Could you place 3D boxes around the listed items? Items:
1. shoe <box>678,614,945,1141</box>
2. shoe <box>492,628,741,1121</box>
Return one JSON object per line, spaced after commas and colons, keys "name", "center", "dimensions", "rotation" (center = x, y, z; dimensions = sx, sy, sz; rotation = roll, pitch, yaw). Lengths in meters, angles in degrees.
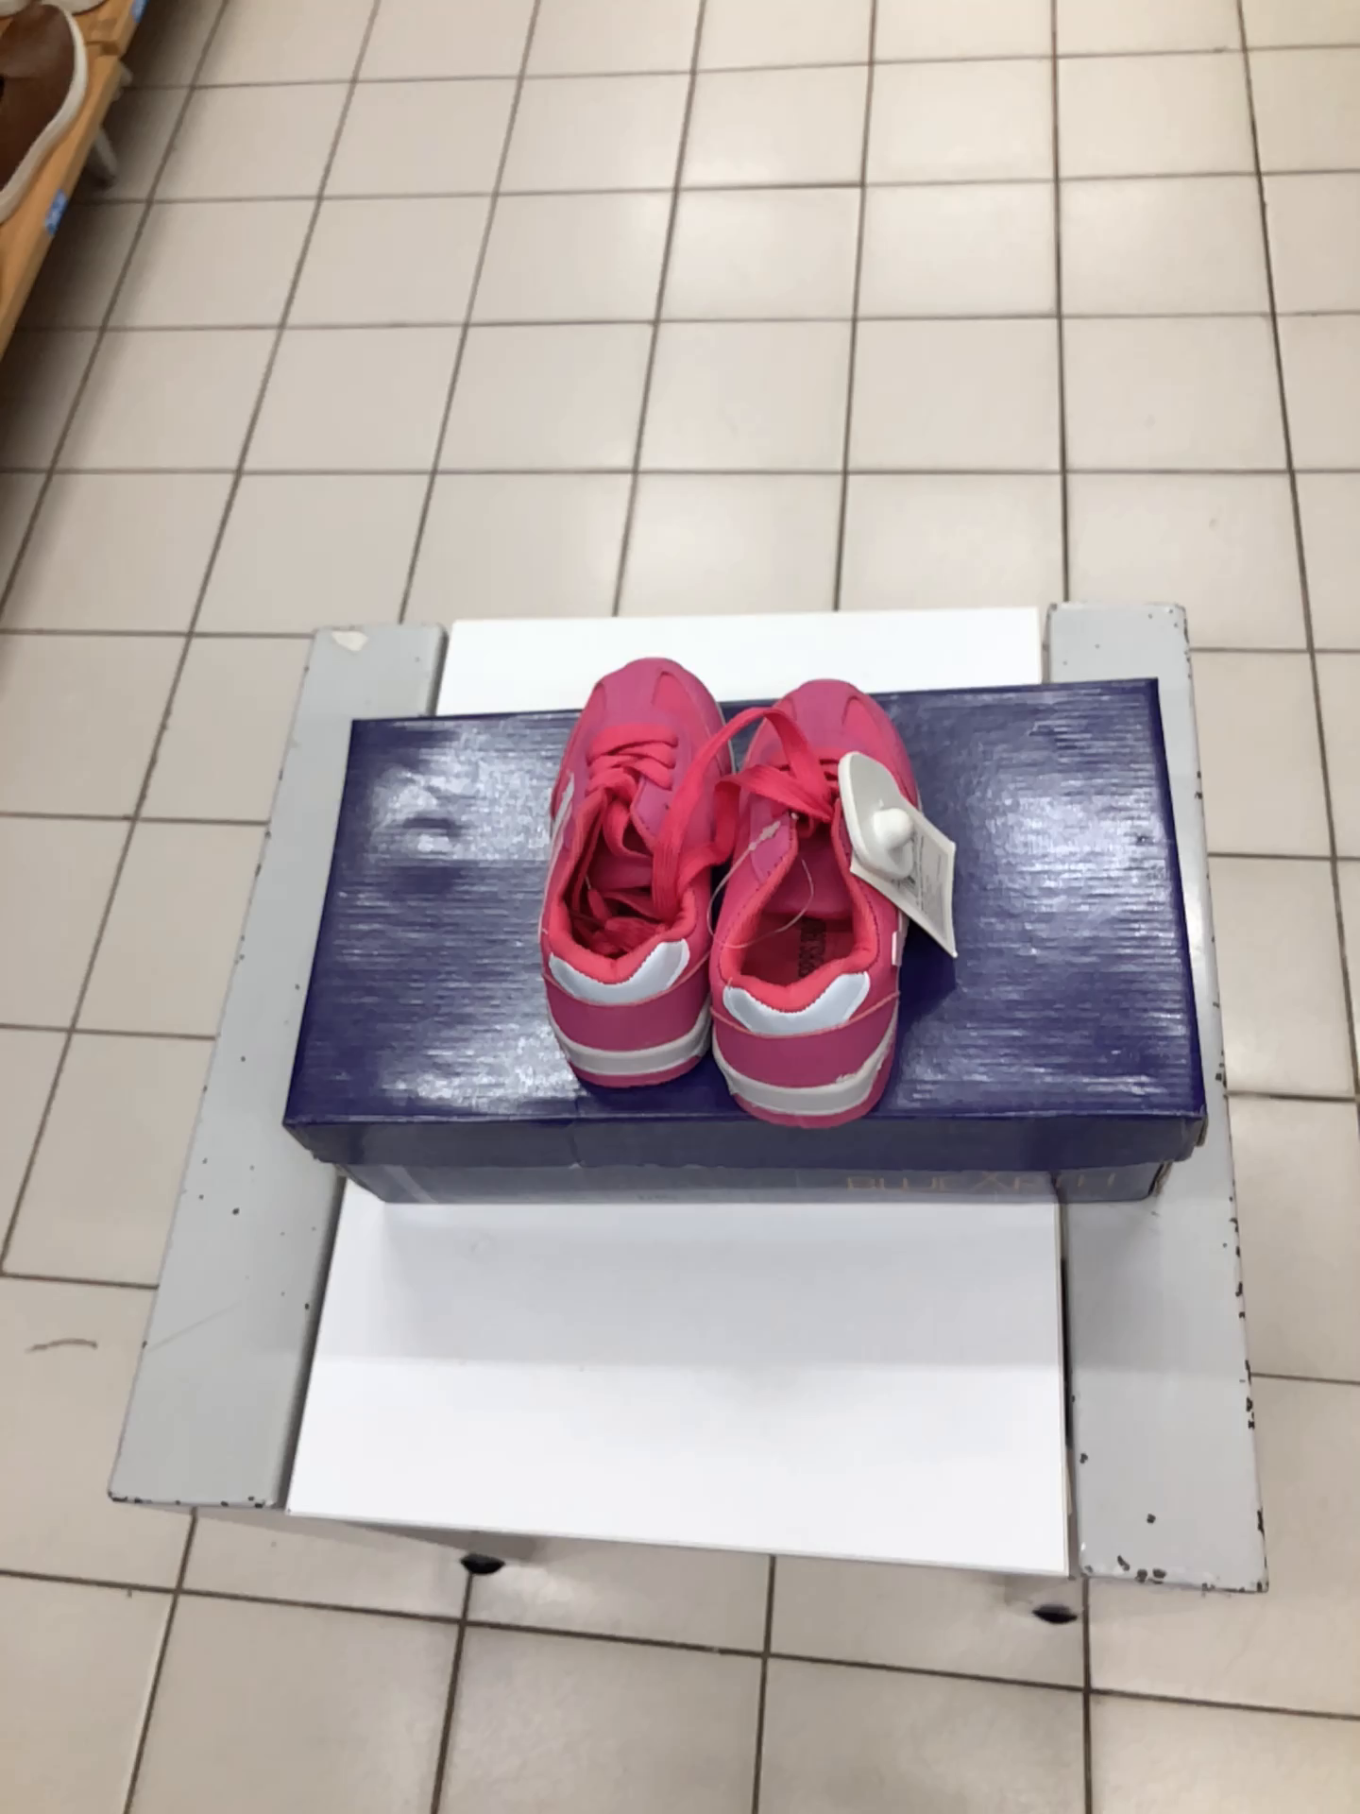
{"name": "shoe", "center": [0.048, -0.010, 0.529], "dimensions": [0.080, 0.090, 0.161], "rotation": [0, 63, 7]}
{"name": "shoe", "center": [-0.018, -0.012, 0.564], "dimensions": [0.070, 0.090, 0.161], "rotation": [0, 63, 7]}
